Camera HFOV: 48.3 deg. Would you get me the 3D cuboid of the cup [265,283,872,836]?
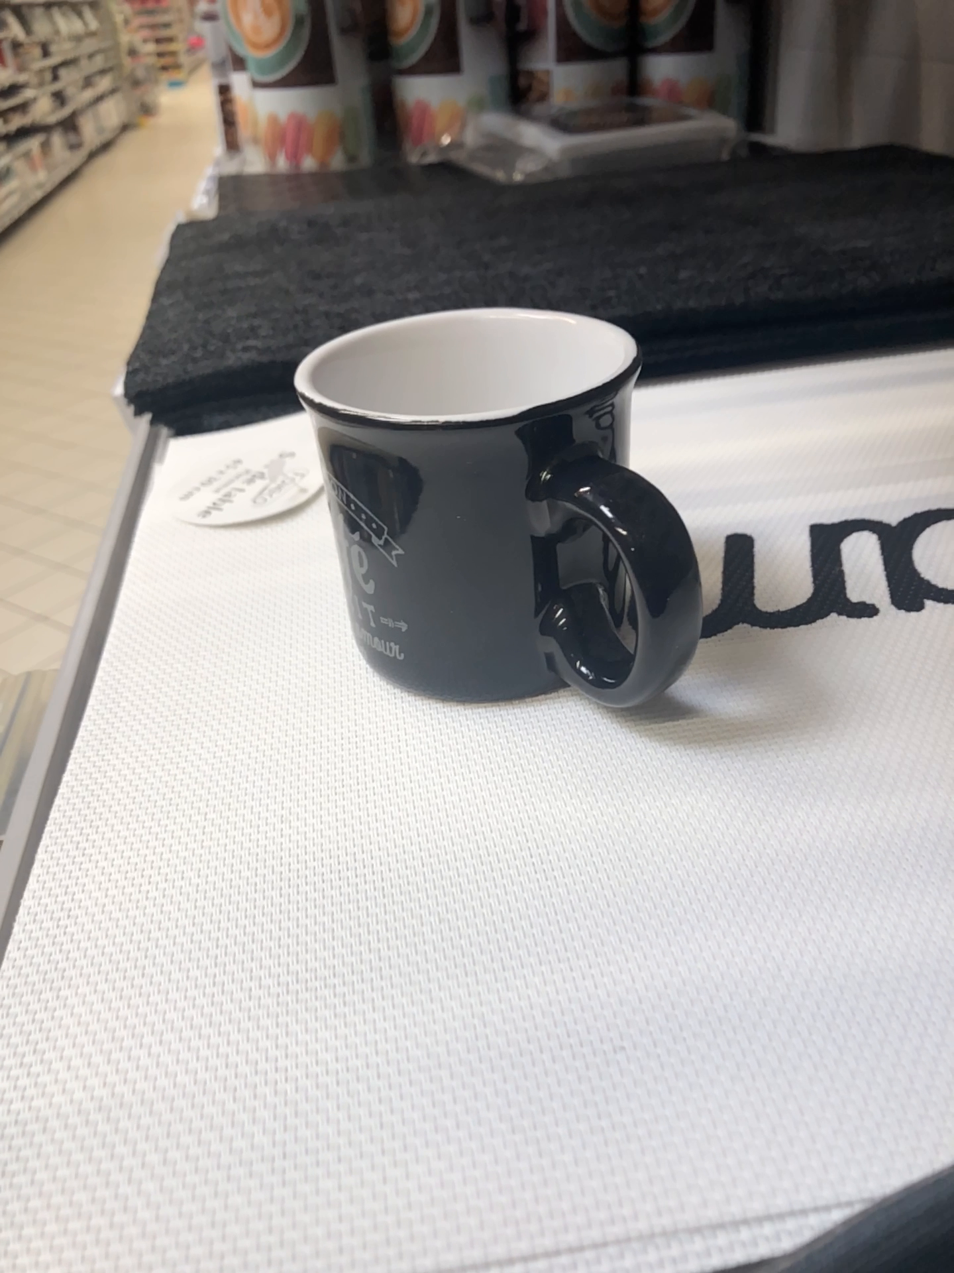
[{"bbox_3d":[0.014,-0.026,0.223,0.075,0.064,0.101,-21,34,-22],"label":"cup"}]
